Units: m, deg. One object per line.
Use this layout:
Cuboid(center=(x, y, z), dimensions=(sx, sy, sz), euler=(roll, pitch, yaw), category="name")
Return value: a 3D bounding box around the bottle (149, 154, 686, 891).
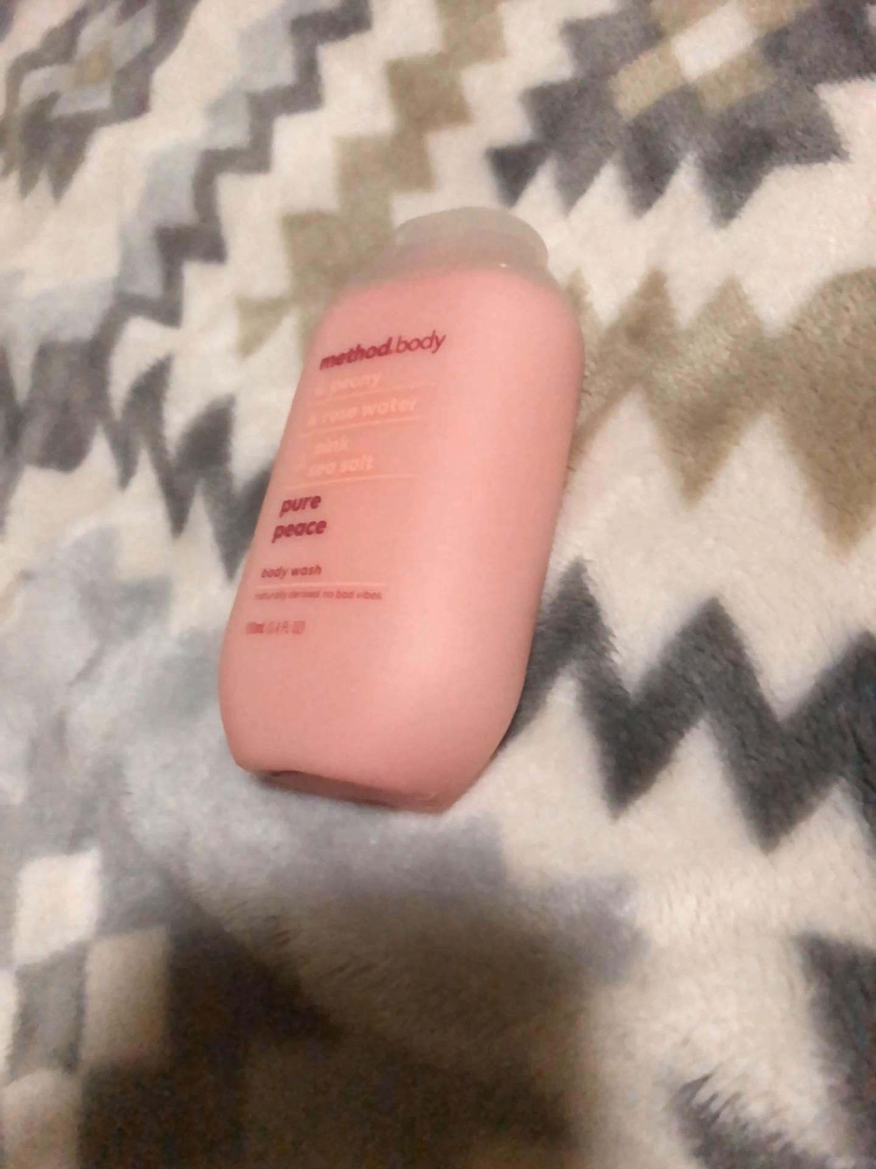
Cuboid(center=(-0.001, -0.012, 0.169), dimensions=(0.057, 0.030, 0.110), euler=(6, 72, 37), category="bottle")
